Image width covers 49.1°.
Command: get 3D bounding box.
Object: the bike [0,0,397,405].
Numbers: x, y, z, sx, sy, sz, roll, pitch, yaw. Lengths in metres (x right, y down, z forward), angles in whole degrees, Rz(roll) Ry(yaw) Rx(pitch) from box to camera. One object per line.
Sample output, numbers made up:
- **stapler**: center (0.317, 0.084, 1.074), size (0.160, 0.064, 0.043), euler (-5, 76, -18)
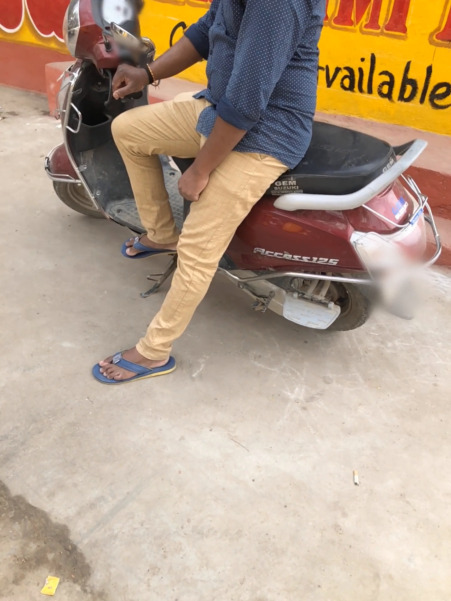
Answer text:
- **bike**: center (-0.333, -0.484, 1.728), size (1.376, 1.087, 0.632), euler (21, 38, 20)
